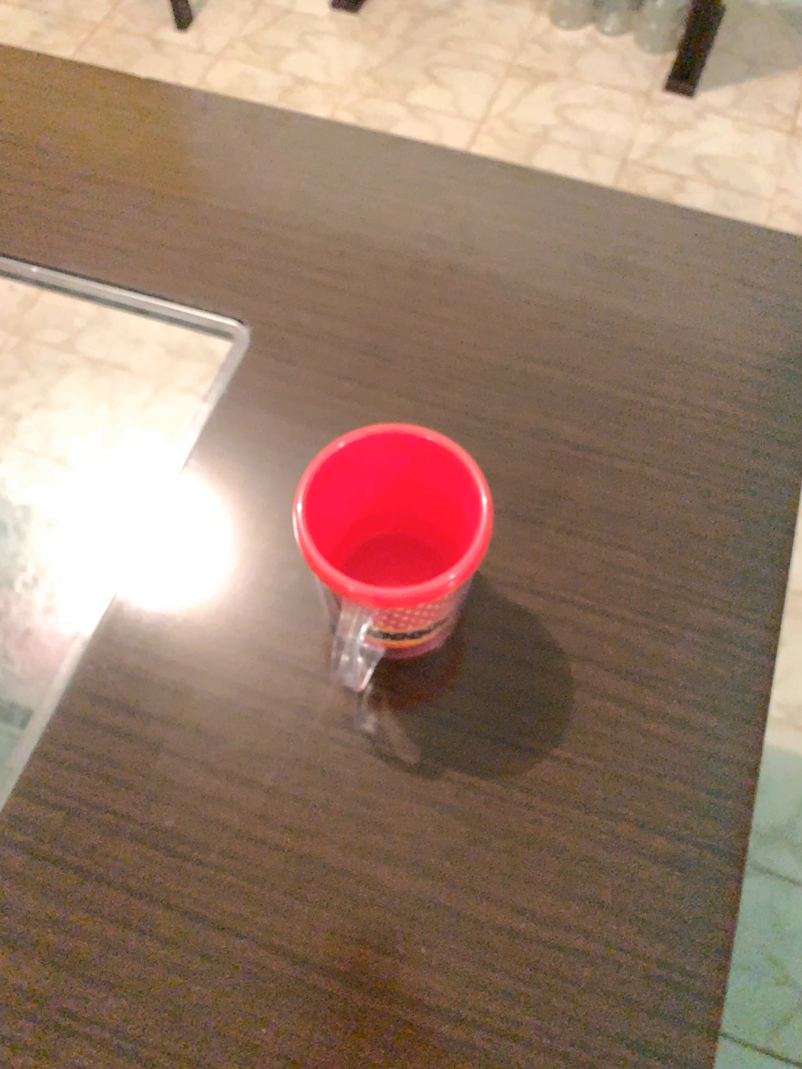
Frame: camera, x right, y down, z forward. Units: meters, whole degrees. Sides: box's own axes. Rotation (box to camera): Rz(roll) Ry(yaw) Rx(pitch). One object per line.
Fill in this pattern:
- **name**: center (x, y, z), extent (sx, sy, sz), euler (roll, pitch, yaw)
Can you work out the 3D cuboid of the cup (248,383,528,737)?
- **cup**: center (-0.002, 0.016, 0.411), extent (0.090, 0.110, 0.120), euler (15, 64, 8)
